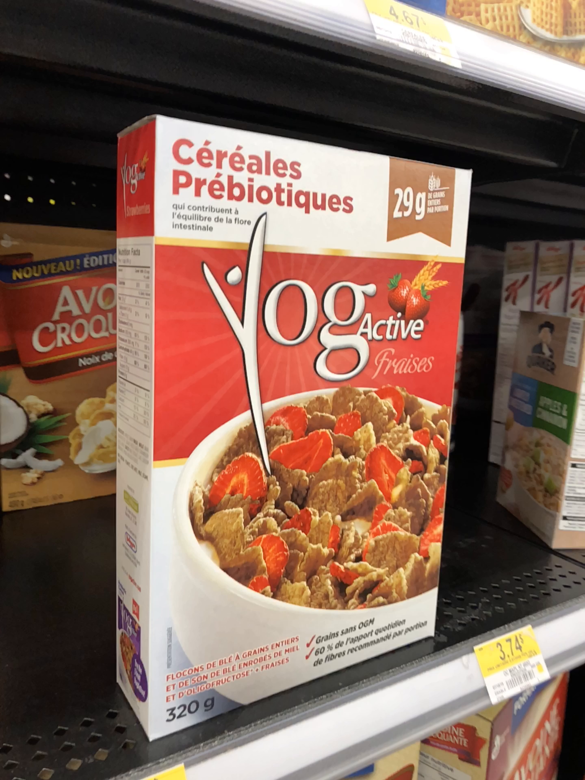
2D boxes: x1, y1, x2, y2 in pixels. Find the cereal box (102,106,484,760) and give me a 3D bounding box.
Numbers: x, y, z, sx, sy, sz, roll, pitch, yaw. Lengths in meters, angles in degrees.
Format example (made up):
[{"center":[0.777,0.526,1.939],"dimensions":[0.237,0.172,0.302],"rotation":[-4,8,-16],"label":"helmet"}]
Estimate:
[{"center":[0.004,0.020,0.355],"dimensions":[0.200,0.289,0.050],"rotation":[-3,11,-34],"label":"cereal box"}]
